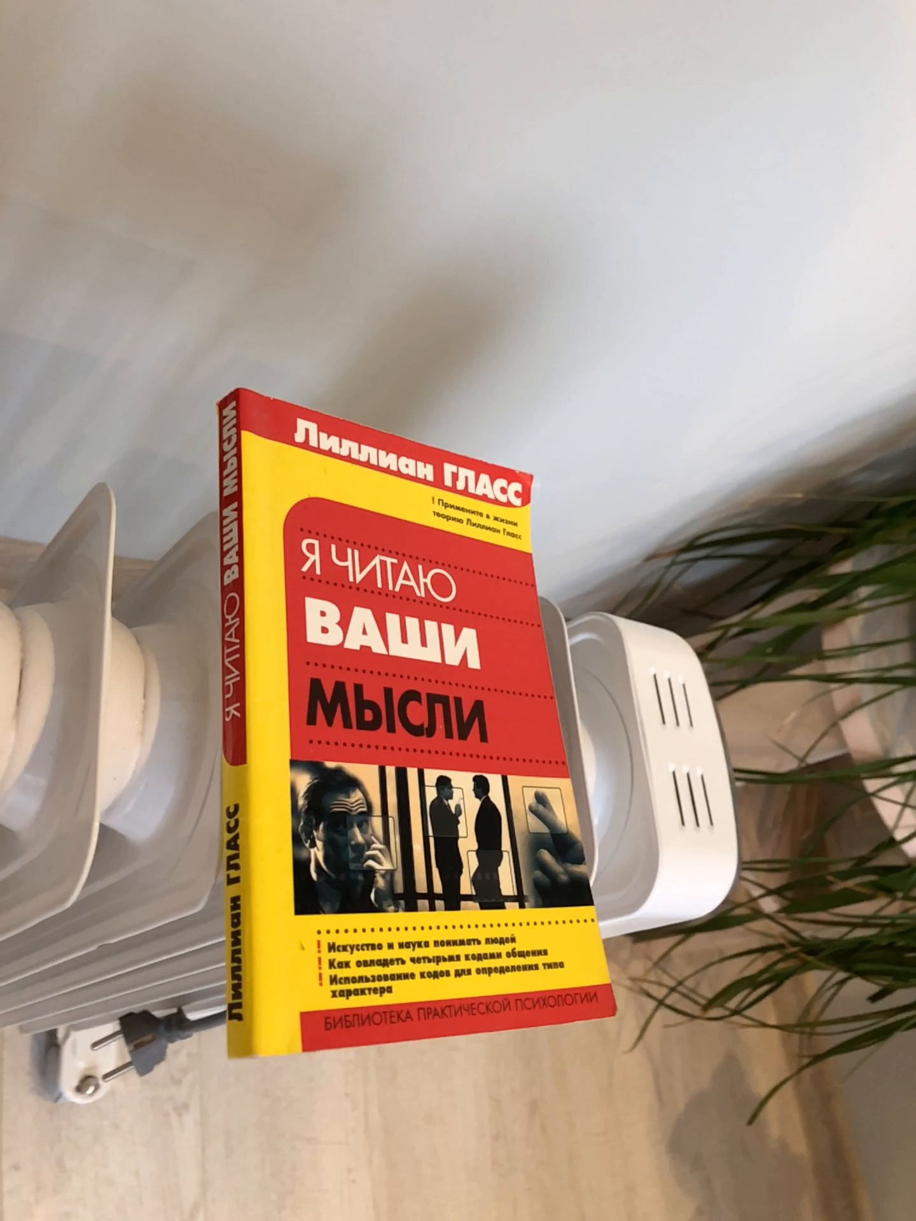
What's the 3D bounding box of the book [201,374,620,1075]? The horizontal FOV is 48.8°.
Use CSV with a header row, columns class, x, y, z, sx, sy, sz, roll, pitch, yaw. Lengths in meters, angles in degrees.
class,x,y,z,sx,sy,sz,roll,pitch,yaw
book,-0.018,0.031,0.331,0.129,0.020,0.207,11,61,-35
